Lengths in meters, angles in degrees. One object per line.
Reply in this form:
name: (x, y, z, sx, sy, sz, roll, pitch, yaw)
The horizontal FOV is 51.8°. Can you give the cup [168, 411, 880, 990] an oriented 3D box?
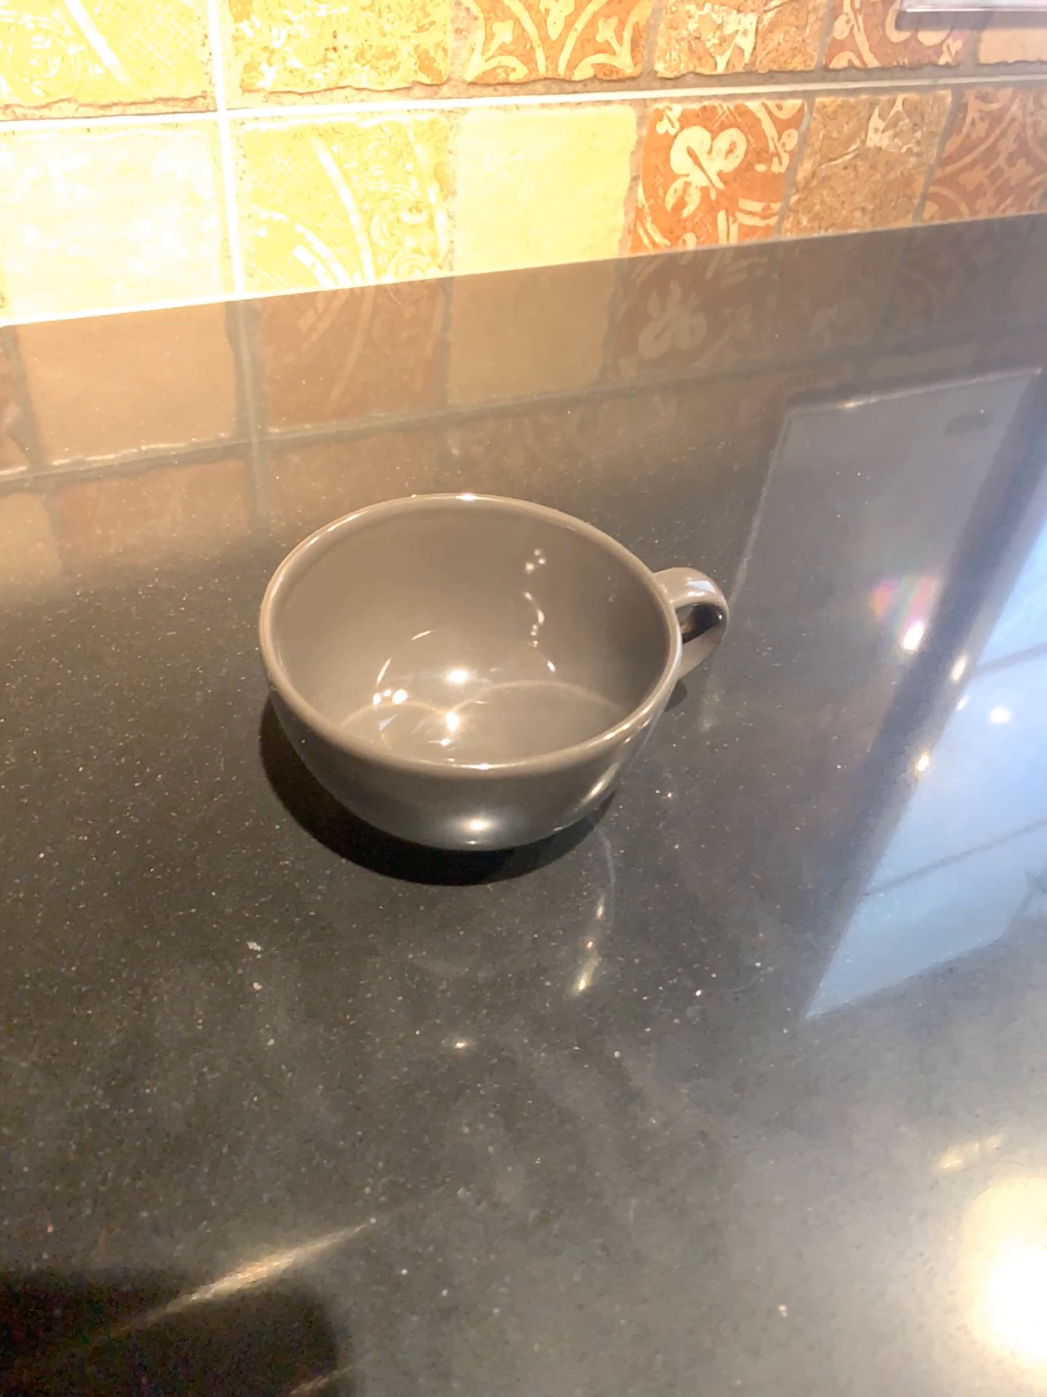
cup: (-0.004, -0.010, 0.286, 0.140, 0.060, 0.110, -18, 49, -23)
